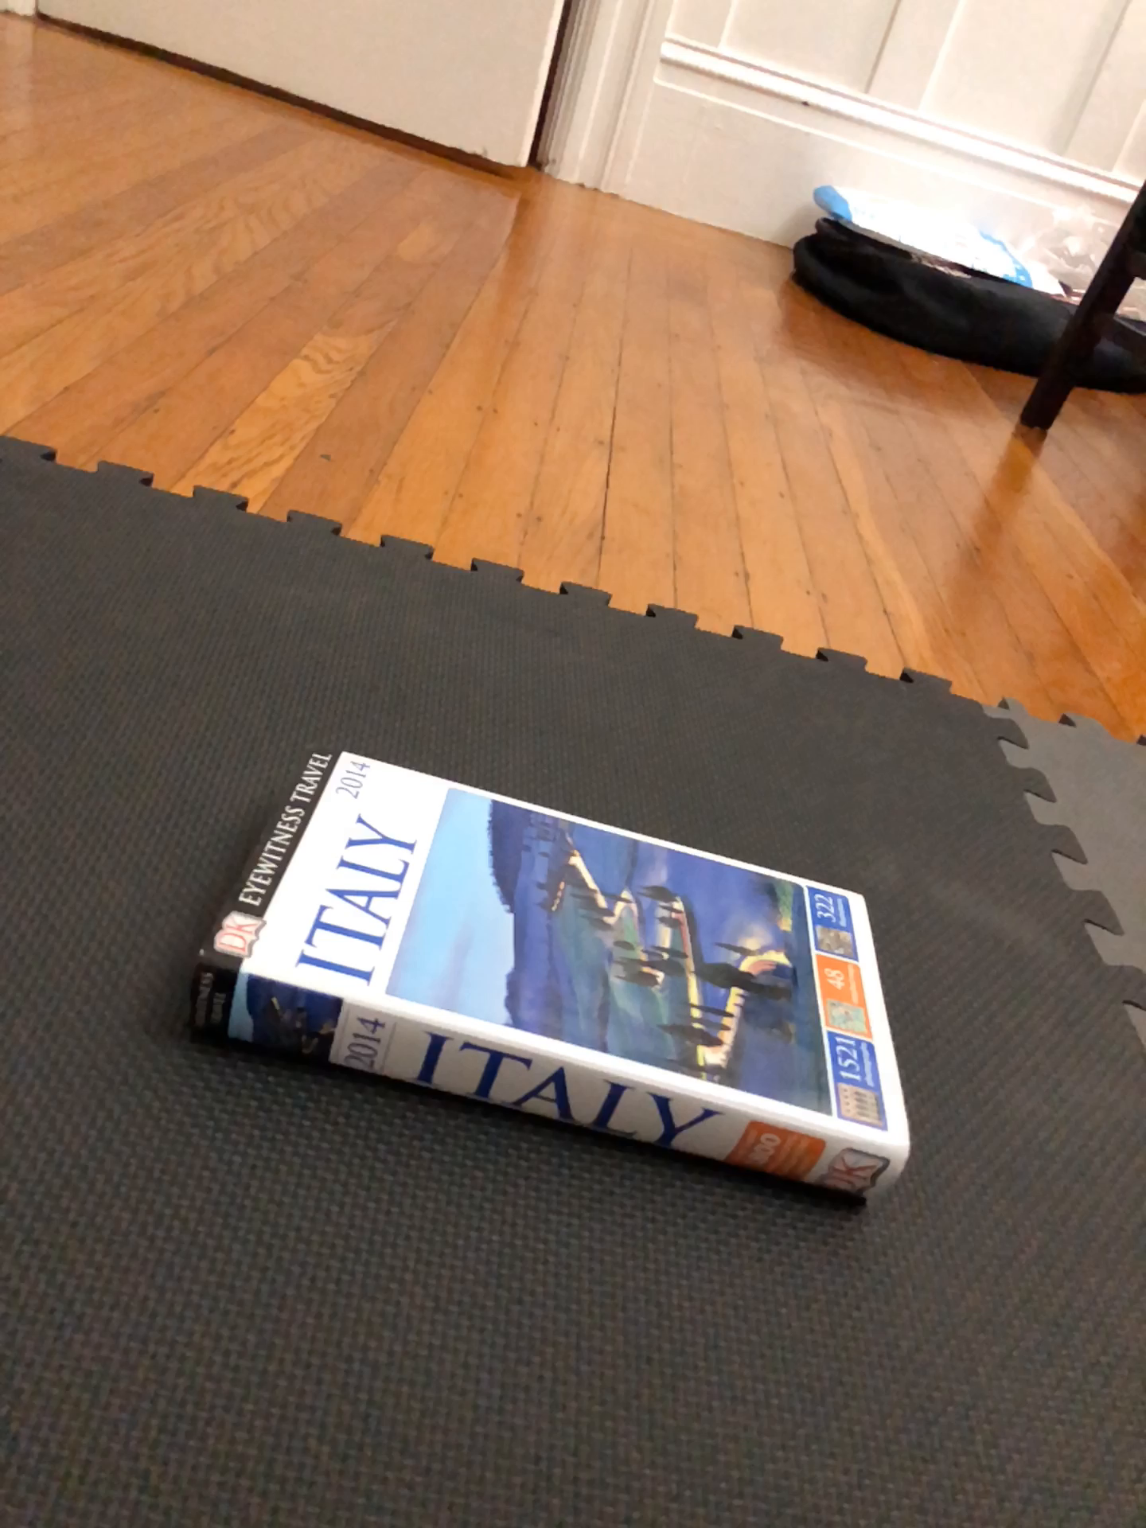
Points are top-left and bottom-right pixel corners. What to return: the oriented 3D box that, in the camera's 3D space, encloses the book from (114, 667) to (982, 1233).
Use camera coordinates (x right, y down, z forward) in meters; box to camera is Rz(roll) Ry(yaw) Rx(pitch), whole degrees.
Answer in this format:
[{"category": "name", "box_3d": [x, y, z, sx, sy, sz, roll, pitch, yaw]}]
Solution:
[{"category": "book", "box_3d": [-0.002, 0.054, 0.432, 0.250, 0.040, 0.161, 15, 32, -5]}]
